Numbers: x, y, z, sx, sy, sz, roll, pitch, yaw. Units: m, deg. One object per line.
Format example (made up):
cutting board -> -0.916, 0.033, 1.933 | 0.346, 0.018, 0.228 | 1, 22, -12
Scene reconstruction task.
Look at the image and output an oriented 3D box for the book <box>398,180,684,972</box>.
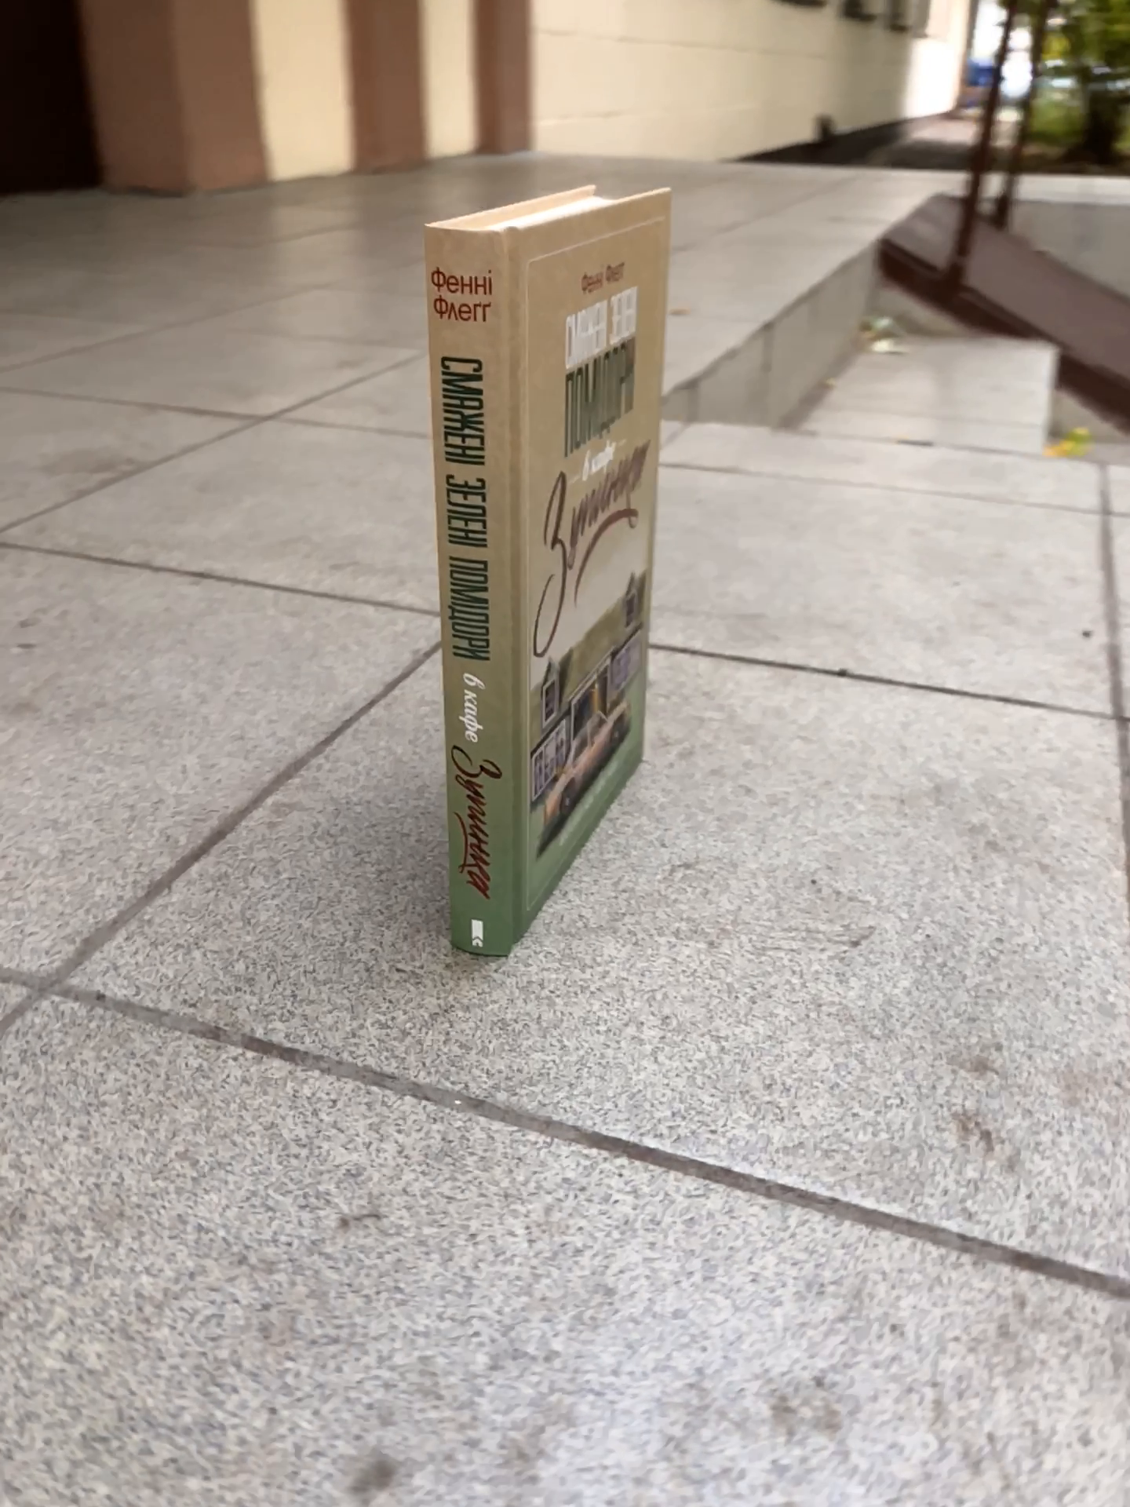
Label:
book -> -0.001, -0.060, 0.391 | 0.030, 0.209, 0.141 | 10, 29, 18
